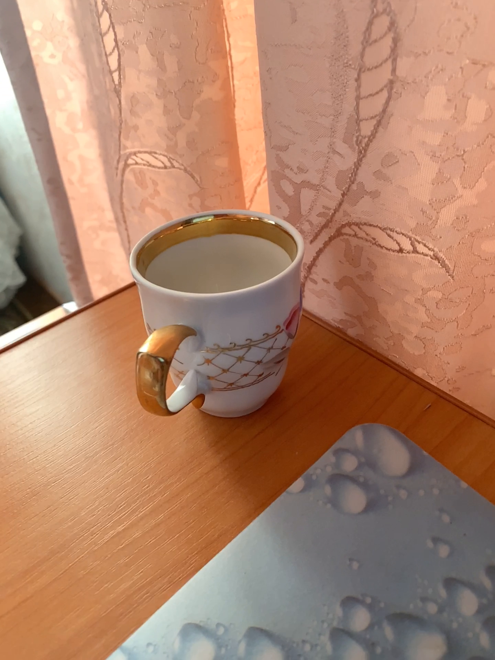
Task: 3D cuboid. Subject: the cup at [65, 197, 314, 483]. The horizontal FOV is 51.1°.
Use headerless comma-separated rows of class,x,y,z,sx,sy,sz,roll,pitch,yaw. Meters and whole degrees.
cup,-0.011,-0.002,0.183,0.059,0.055,0.083,5,40,10
